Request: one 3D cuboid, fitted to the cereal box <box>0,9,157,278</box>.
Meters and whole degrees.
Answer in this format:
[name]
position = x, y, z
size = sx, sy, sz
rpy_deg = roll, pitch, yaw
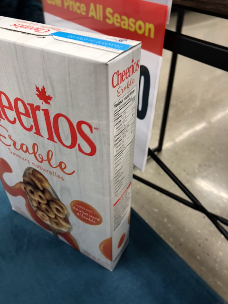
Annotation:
[cereal box]
position = -0.073, 0.003, 0.298
size = 0.210, 0.269, 0.060
rpy_deg = 22, 44, 24
